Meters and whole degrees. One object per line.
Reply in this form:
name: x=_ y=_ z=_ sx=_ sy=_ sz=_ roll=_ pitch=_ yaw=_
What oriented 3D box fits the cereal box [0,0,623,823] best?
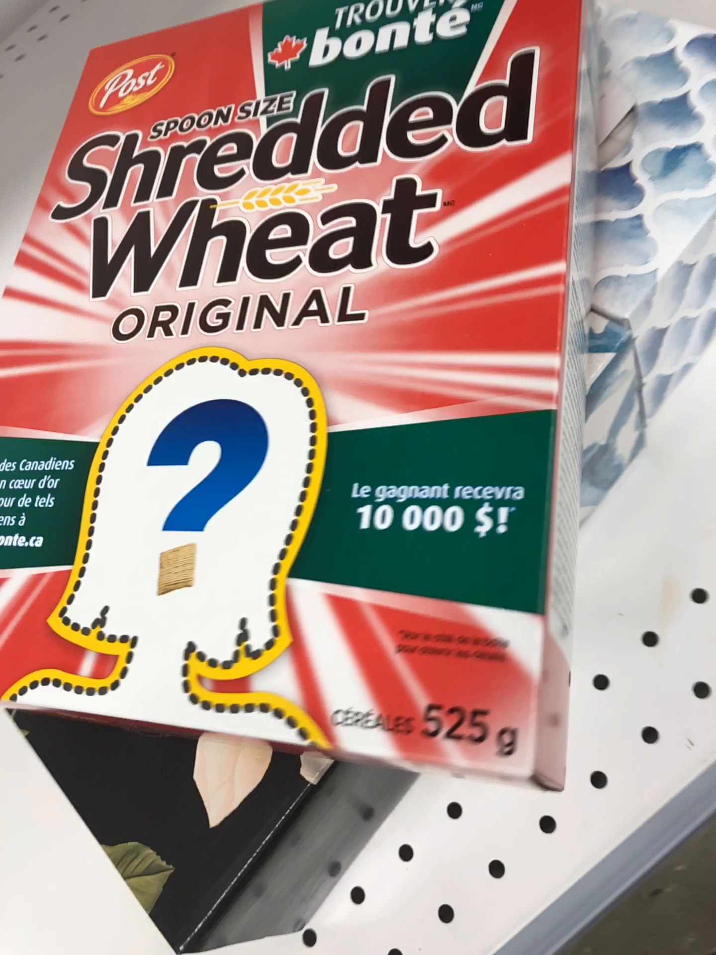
cereal box: x=-0.039 y=-0.056 z=0.263 sx=0.231 sy=0.060 sz=0.280 roll=-2 pitch=66 yaw=24
